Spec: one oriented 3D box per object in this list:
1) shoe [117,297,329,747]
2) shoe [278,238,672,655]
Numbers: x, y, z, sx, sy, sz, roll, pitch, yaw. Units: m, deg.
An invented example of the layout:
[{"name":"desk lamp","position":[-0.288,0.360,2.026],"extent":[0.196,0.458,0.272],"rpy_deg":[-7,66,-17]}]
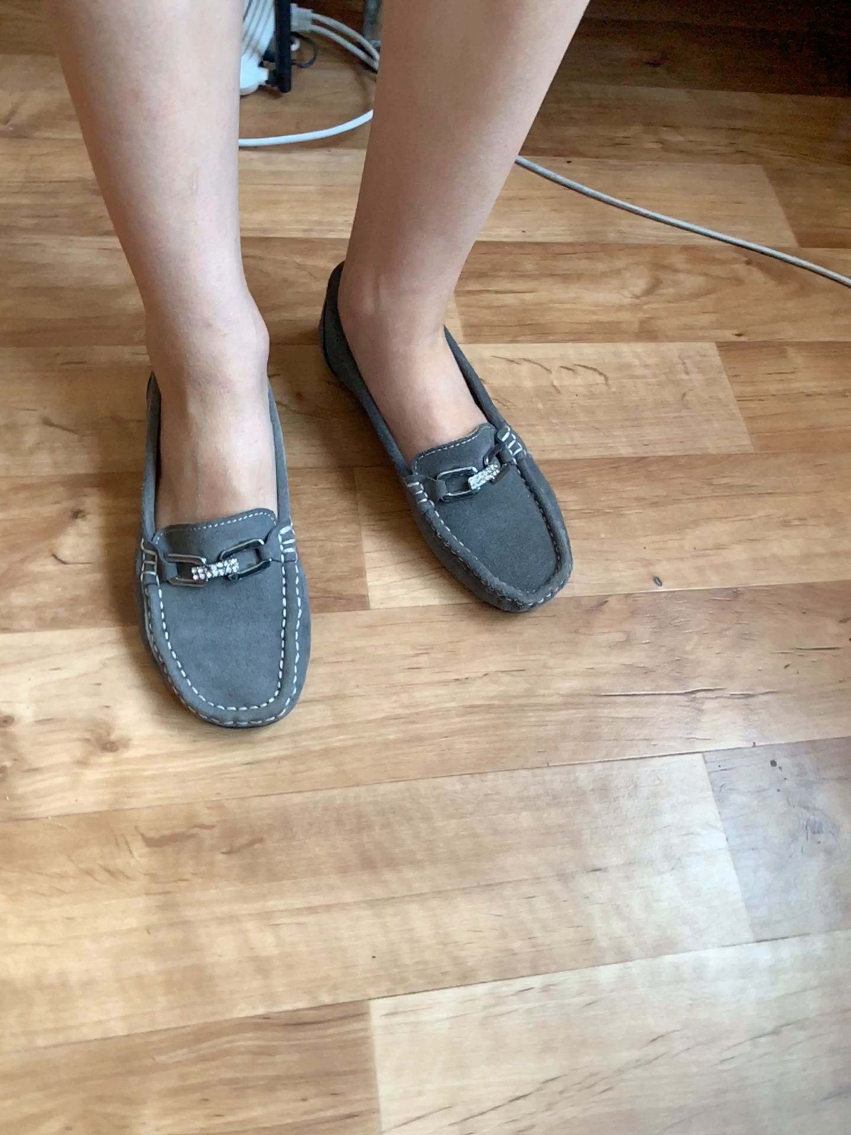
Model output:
[{"name":"shoe","position":[-0.113,-0.034,0.477],"extent":[0.090,0.060,0.240],"rpy_deg":[-7,63,-9]},{"name":"shoe","position":[0.019,-0.079,0.515],"extent":[0.100,0.060,0.240],"rpy_deg":[-29,70,-23]}]
